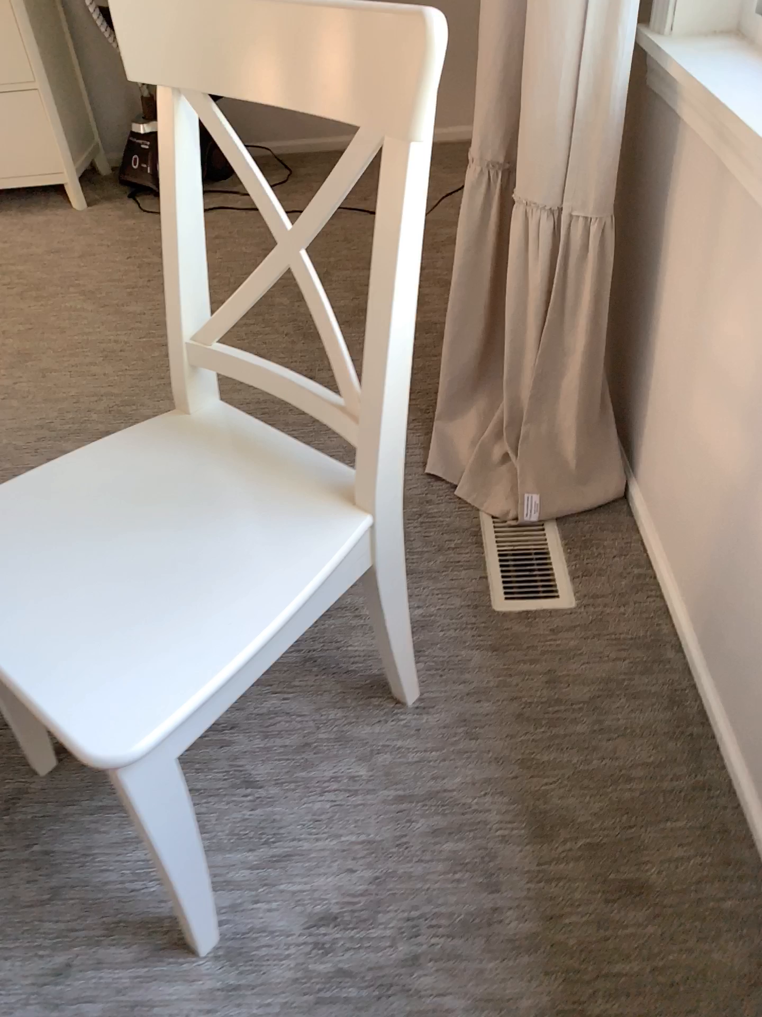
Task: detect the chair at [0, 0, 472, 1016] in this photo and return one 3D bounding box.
[{"bbox_3d":[-0.294,-0.033,0.790,0.572,0.855,0.481,31,51,33],"label":"chair"}]
